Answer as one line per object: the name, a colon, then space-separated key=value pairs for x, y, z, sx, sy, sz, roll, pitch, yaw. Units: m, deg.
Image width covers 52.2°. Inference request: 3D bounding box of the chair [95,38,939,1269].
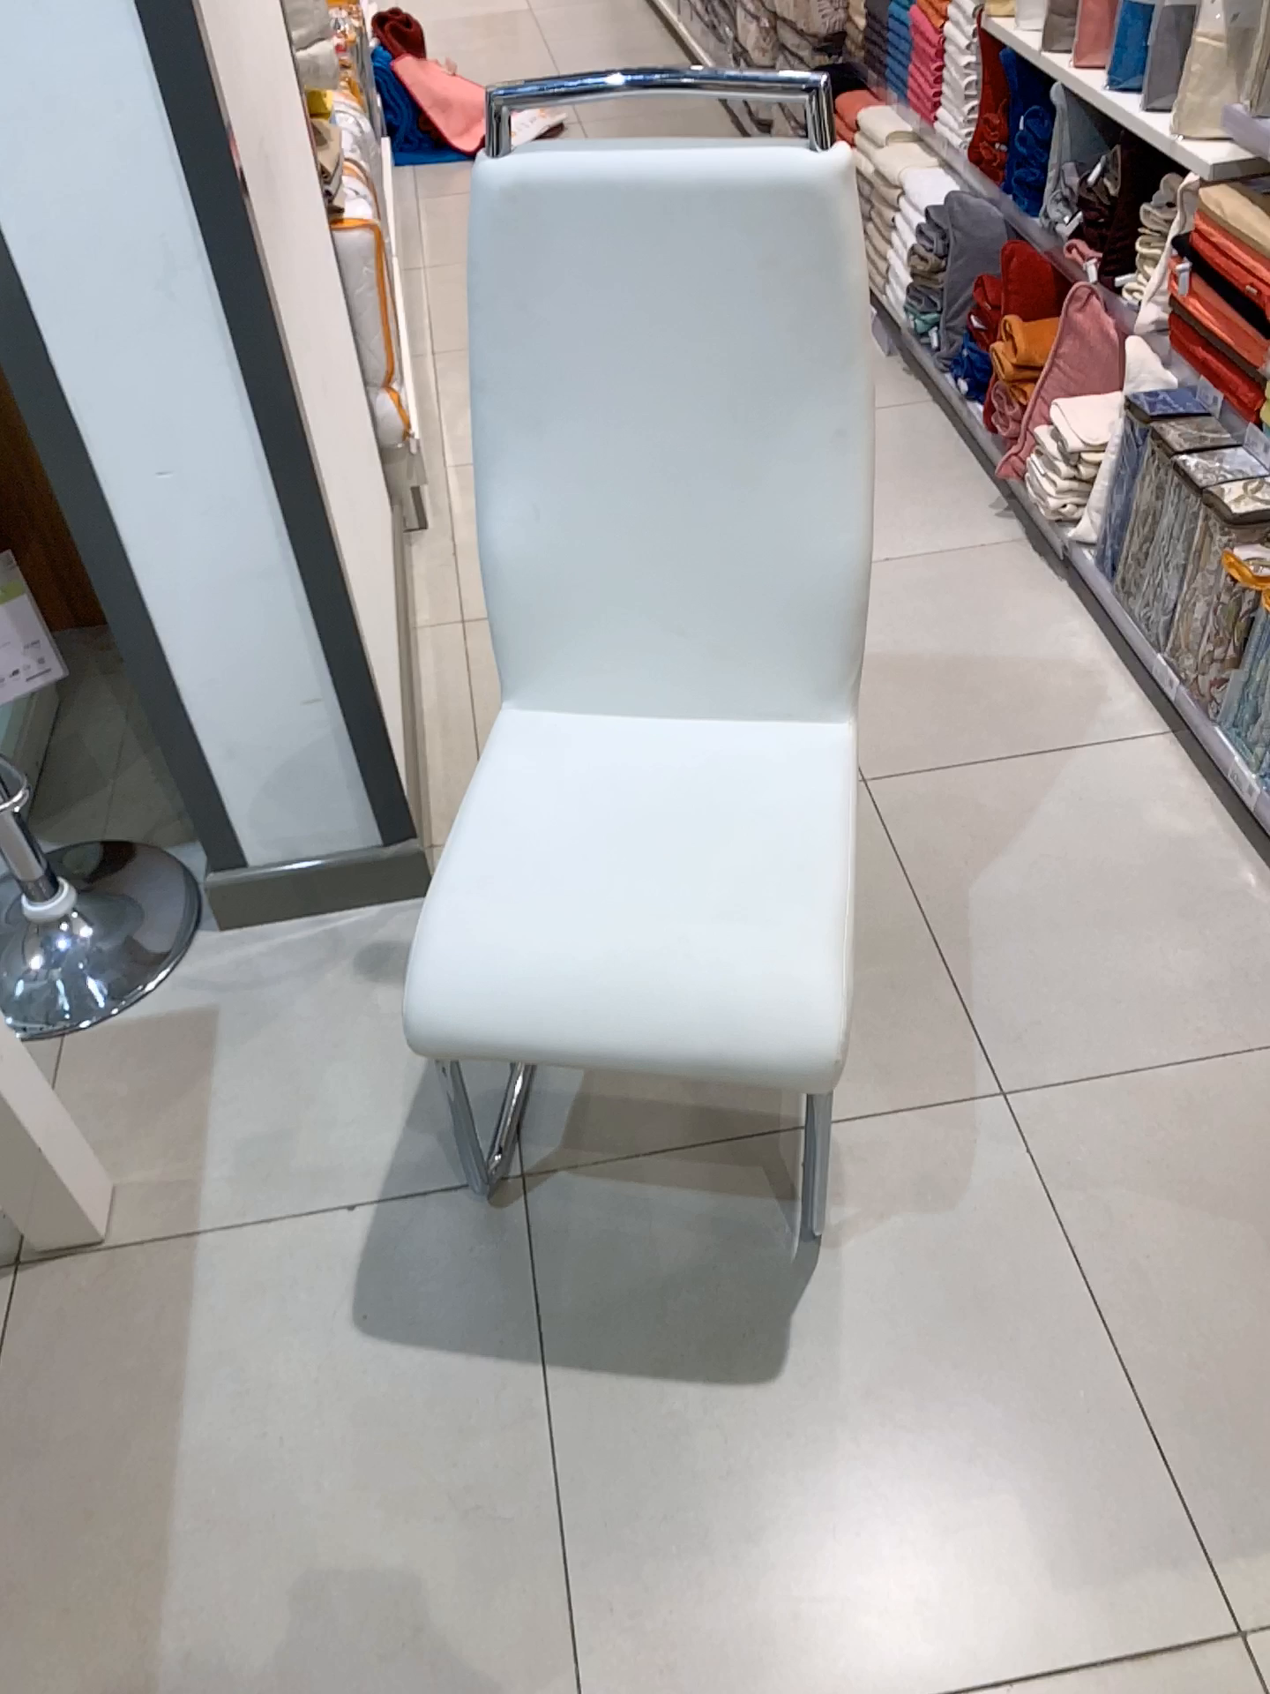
chair: x=-0.001 y=-0.116 z=1.251 sx=0.480 sy=1.026 sz=0.522 roll=4 pitch=44 yaw=10
